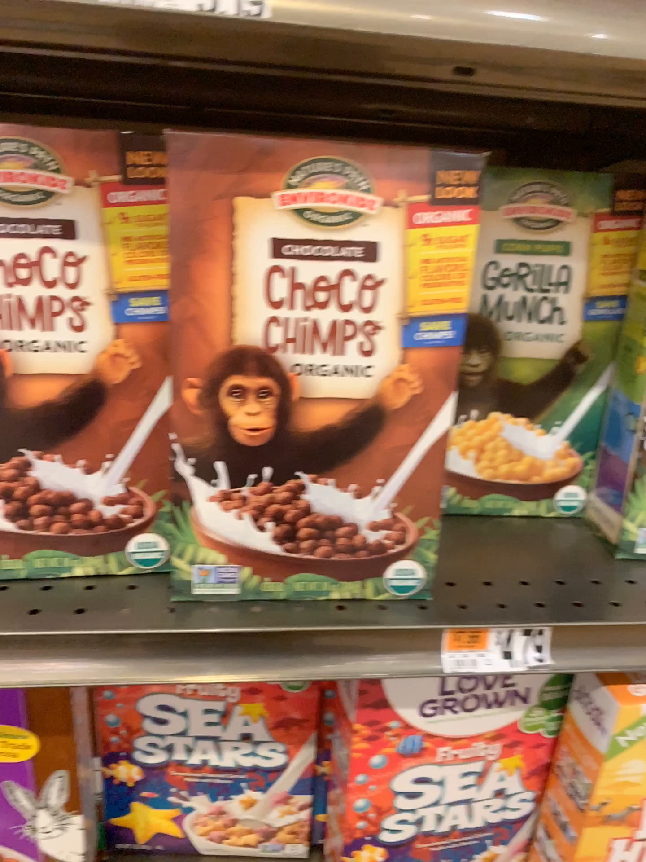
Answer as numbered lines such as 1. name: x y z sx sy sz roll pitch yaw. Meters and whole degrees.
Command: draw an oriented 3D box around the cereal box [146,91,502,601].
1. cereal box: -0.009 -0.036 0.386 0.170 0.269 0.060 2 18 -7
